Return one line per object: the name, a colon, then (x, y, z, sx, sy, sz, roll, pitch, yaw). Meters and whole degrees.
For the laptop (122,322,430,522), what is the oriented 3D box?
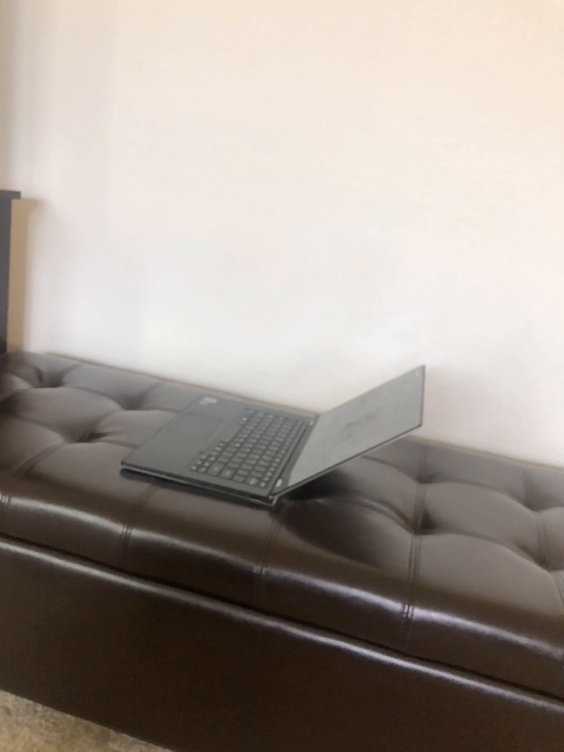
laptop: (0.012, 0.036, 0.786, 0.317, 0.115, 0.262, 11, 16, 10)
